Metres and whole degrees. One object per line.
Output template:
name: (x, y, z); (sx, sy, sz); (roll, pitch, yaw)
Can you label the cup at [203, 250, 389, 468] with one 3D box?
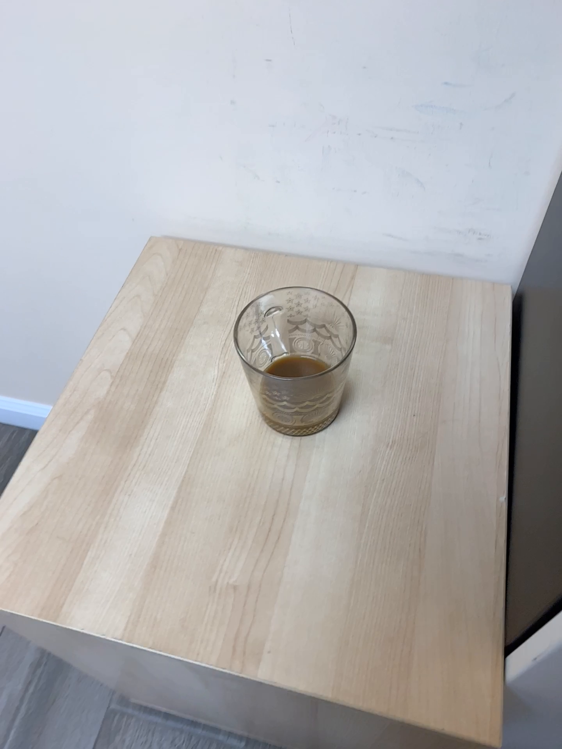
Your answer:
cup: (0.010, -0.014, 0.482); (0.099, 0.098, 0.125); (-22, 54, -13)
